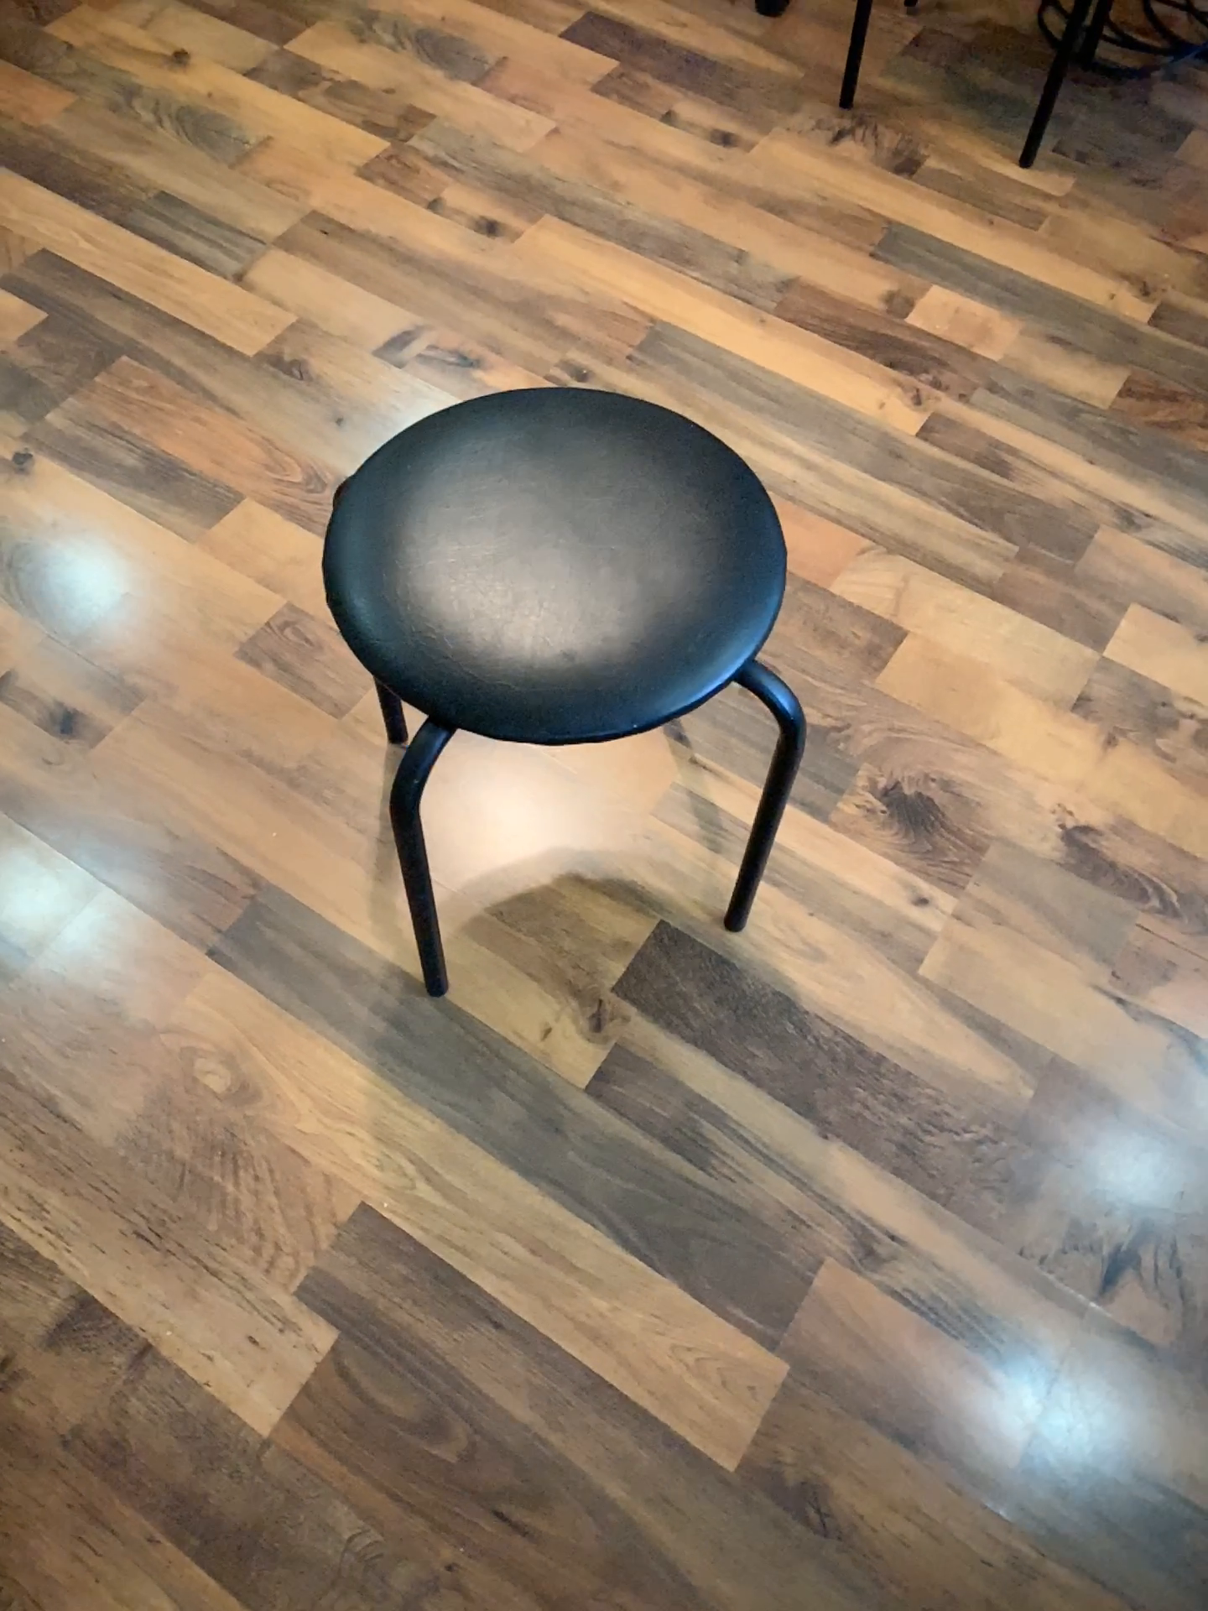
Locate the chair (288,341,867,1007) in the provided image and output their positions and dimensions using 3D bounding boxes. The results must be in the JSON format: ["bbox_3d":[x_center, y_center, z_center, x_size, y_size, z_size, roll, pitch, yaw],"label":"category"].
[{"bbox_3d":[-0.034,-0.091,1.074,0.350,0.427,0.332,-12,62,-7],"label":"chair"}]
